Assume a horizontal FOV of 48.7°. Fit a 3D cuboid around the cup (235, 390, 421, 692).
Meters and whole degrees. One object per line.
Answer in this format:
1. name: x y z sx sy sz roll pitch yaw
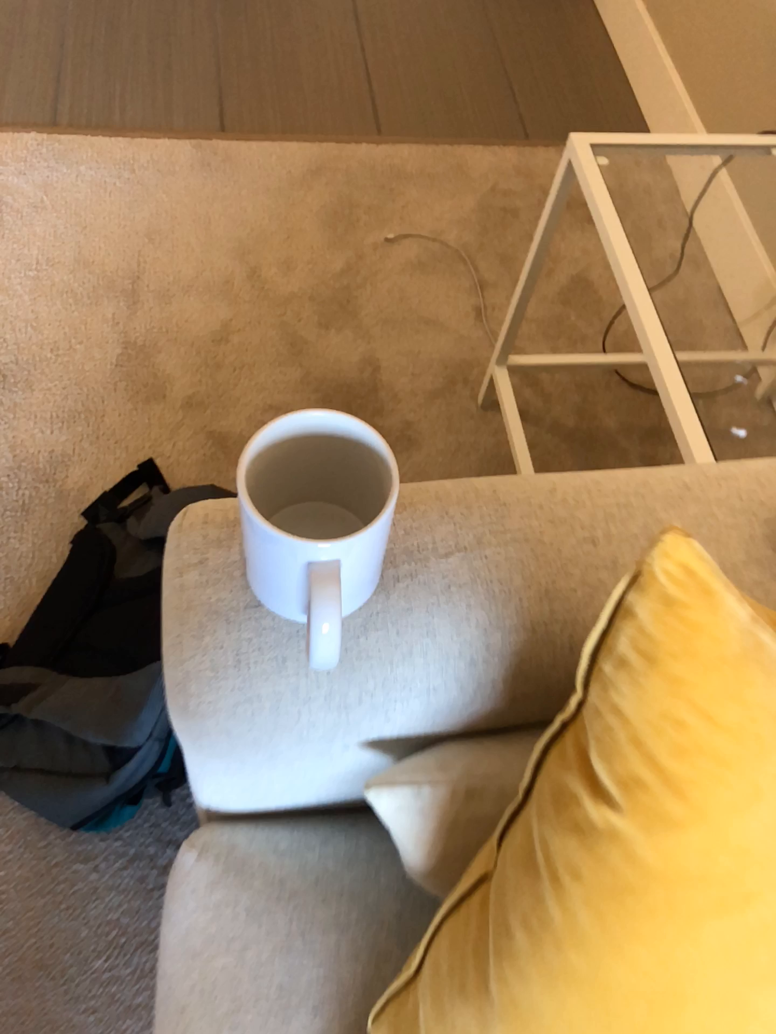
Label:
1. cup: -0.035 0.015 0.442 0.080 0.100 0.120 1 59 -8
